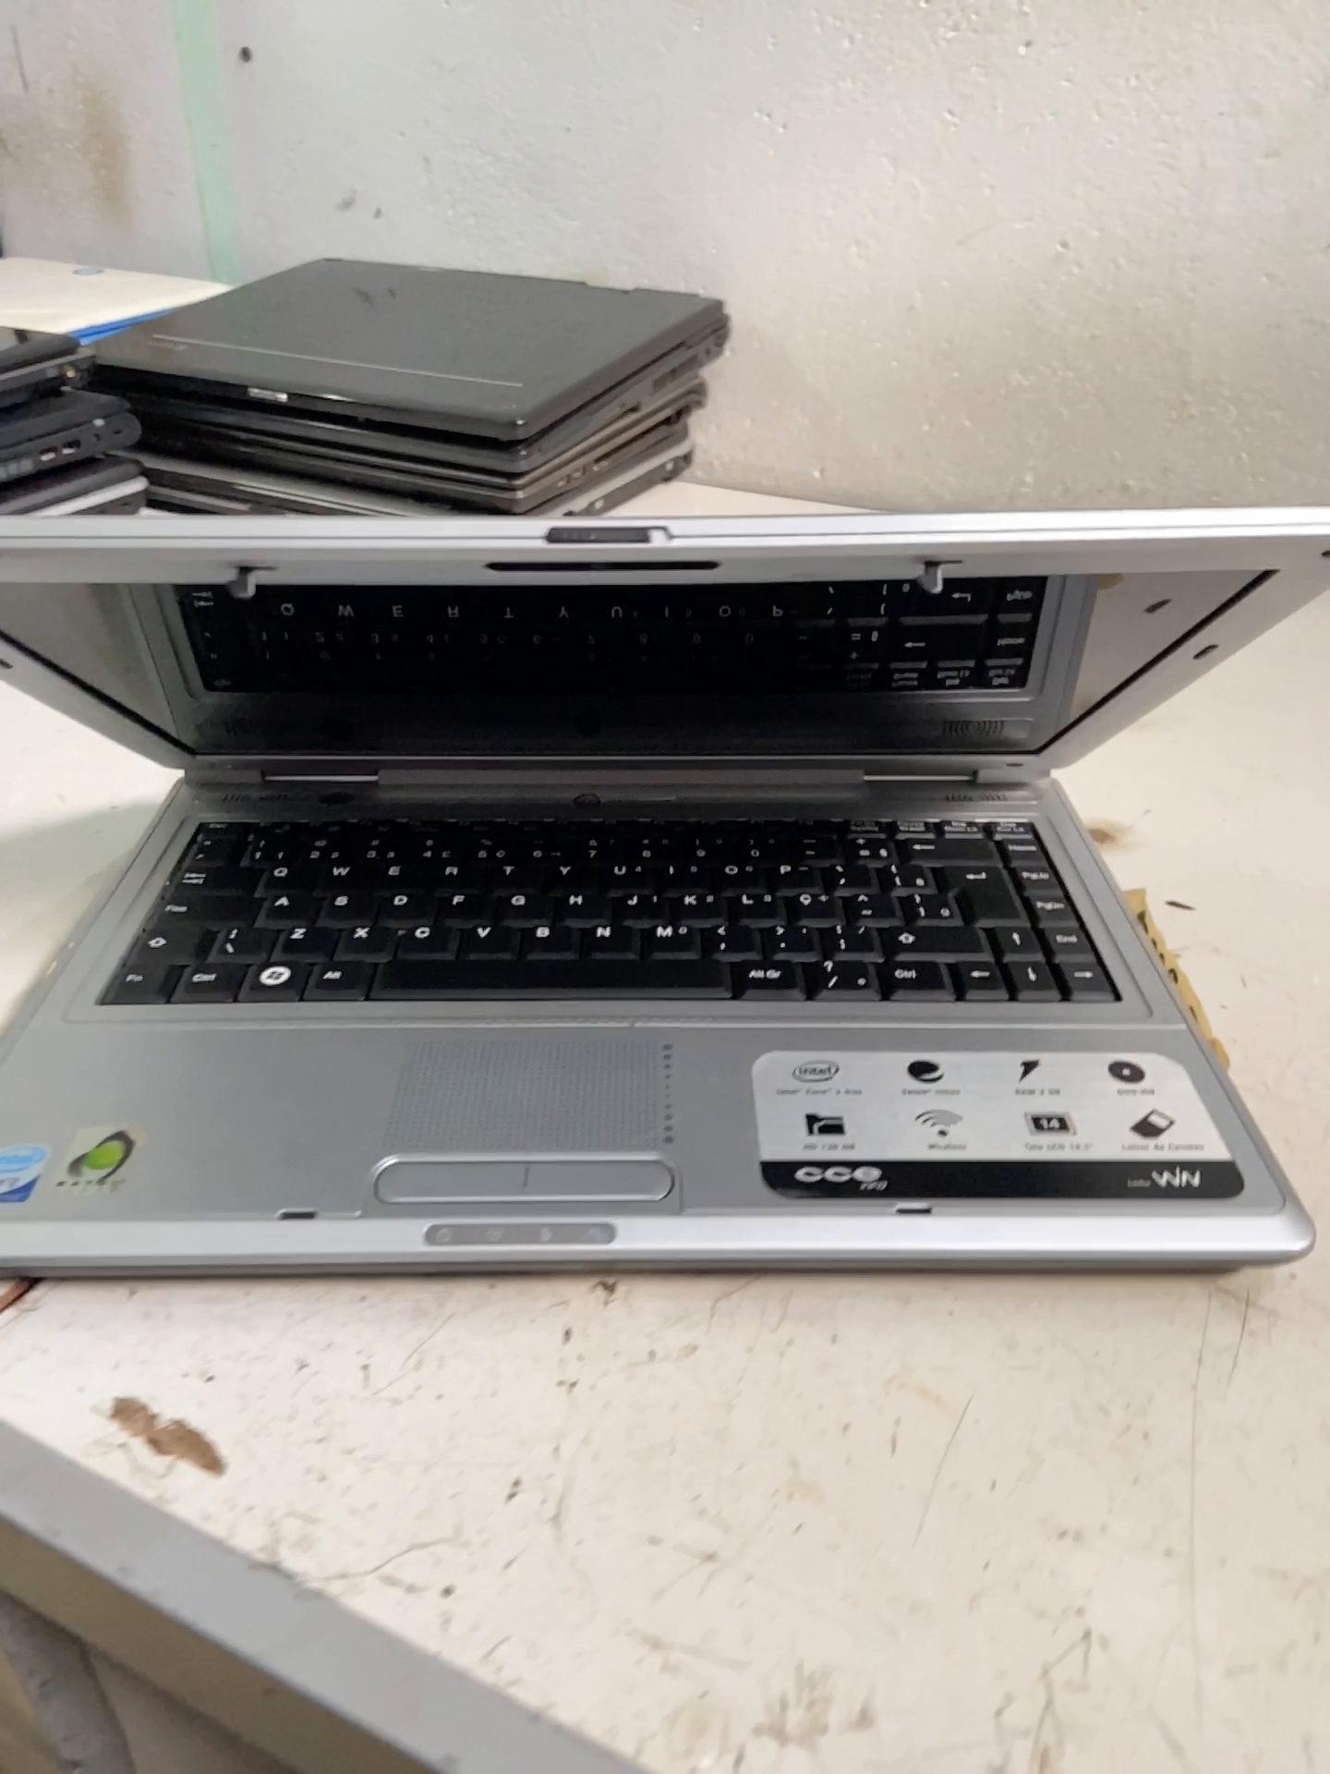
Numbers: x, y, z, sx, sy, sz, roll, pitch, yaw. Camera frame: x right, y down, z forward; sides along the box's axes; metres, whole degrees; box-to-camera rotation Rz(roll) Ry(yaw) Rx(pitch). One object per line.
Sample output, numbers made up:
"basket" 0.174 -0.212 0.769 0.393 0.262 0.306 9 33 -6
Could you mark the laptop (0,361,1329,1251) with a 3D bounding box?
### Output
"laptop" -0.015 -0.045 0.388 0.335 0.153 0.244 -1 31 -1
